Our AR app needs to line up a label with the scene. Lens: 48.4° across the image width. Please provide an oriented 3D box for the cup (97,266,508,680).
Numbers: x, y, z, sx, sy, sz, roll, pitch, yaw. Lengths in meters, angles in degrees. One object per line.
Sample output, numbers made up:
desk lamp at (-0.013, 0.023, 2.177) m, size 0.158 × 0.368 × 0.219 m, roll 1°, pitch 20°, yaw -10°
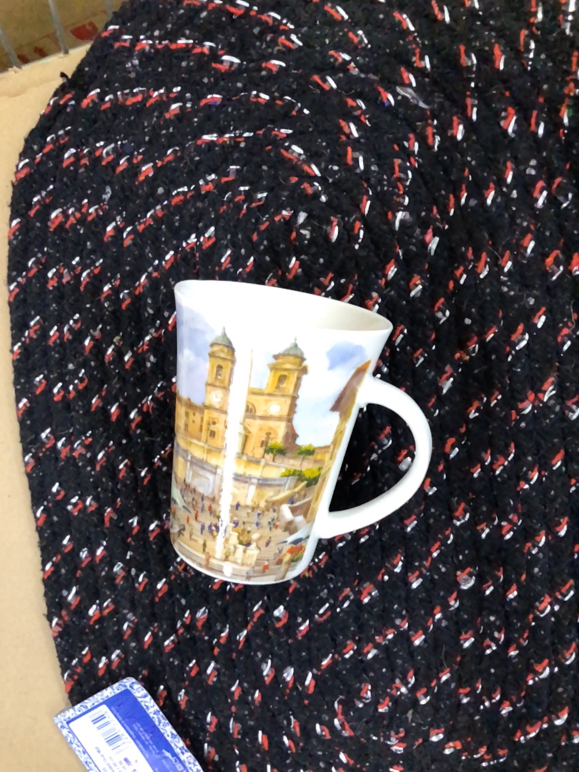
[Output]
cup at (0.004, 0.022, 0.244) m, size 0.110 × 0.090 × 0.110 m, roll 2°, pitch 103°, yaw 7°
